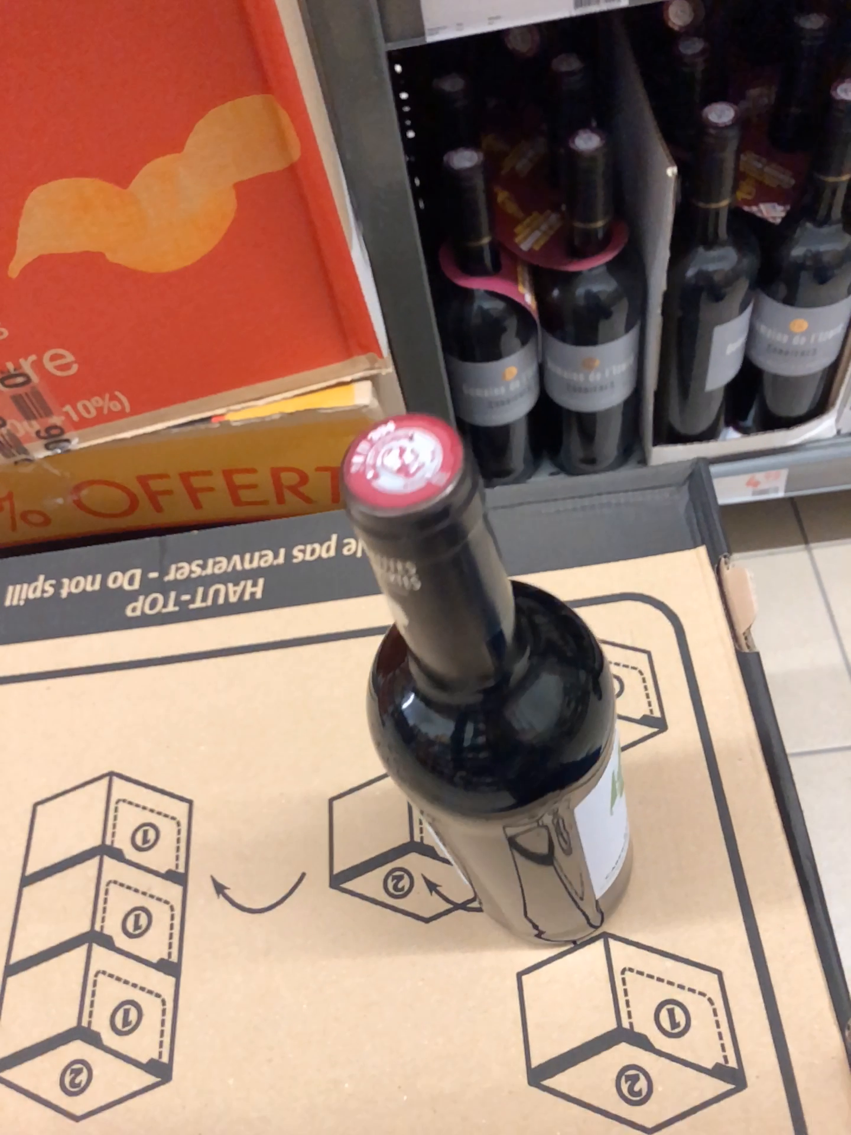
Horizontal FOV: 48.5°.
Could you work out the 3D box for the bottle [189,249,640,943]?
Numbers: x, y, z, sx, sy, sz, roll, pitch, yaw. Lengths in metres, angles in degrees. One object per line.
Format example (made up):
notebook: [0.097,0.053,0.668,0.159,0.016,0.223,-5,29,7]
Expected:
bottle: [0.028,0.048,0.313,0.080,0.299,0.090,-2,59,11]
